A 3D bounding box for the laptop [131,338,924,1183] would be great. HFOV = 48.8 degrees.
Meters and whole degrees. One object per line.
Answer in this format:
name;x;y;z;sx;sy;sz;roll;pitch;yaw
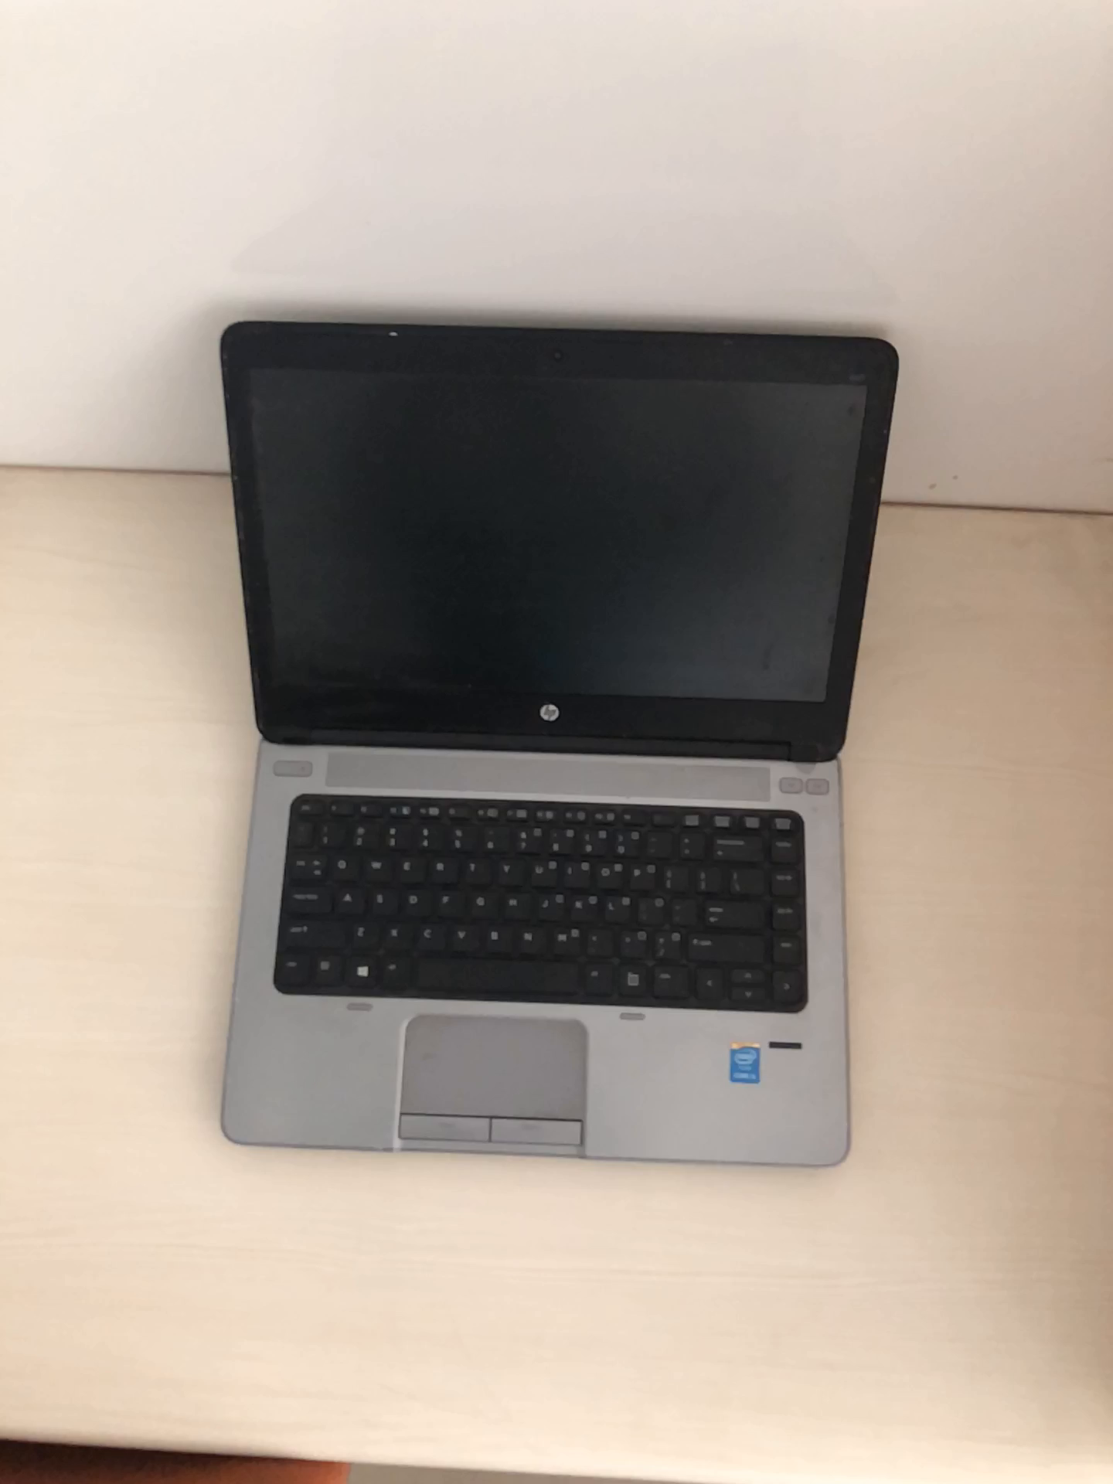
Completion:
laptop;-0.005;0.009;0.620;0.322;0.149;0.377;2;74;2
